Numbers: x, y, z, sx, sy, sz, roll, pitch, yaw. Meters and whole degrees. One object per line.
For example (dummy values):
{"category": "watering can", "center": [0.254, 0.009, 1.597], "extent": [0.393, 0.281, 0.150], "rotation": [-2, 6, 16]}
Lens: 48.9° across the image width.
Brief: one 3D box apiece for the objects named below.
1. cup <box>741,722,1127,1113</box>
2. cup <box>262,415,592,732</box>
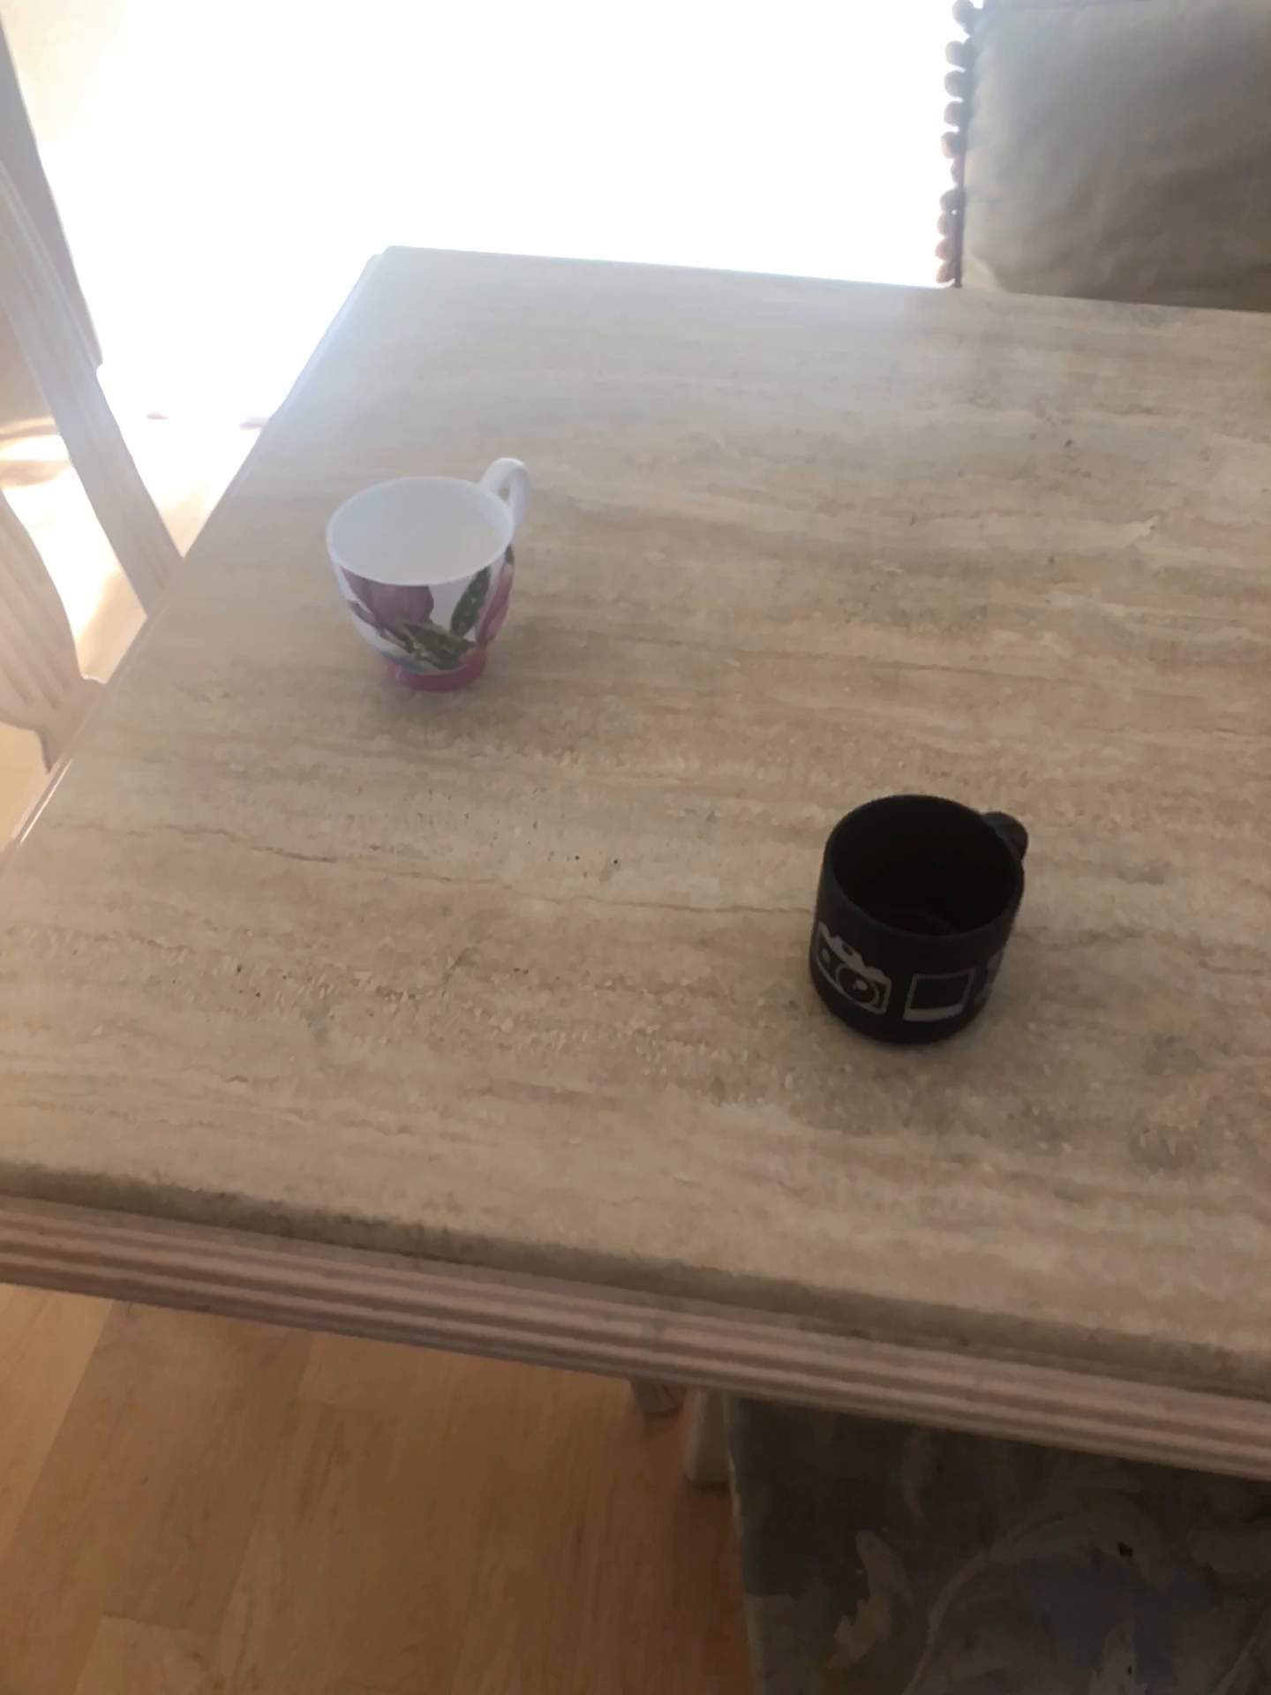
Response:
{"category": "cup", "center": [0.143, 0.031, 0.686], "extent": [0.151, 0.089, 0.100], "rotation": [-33, 55, -27]}
{"category": "cup", "center": [-0.119, -0.169, 0.841], "extent": [0.110, 0.089, 0.161], "rotation": [28, 53, 23]}
